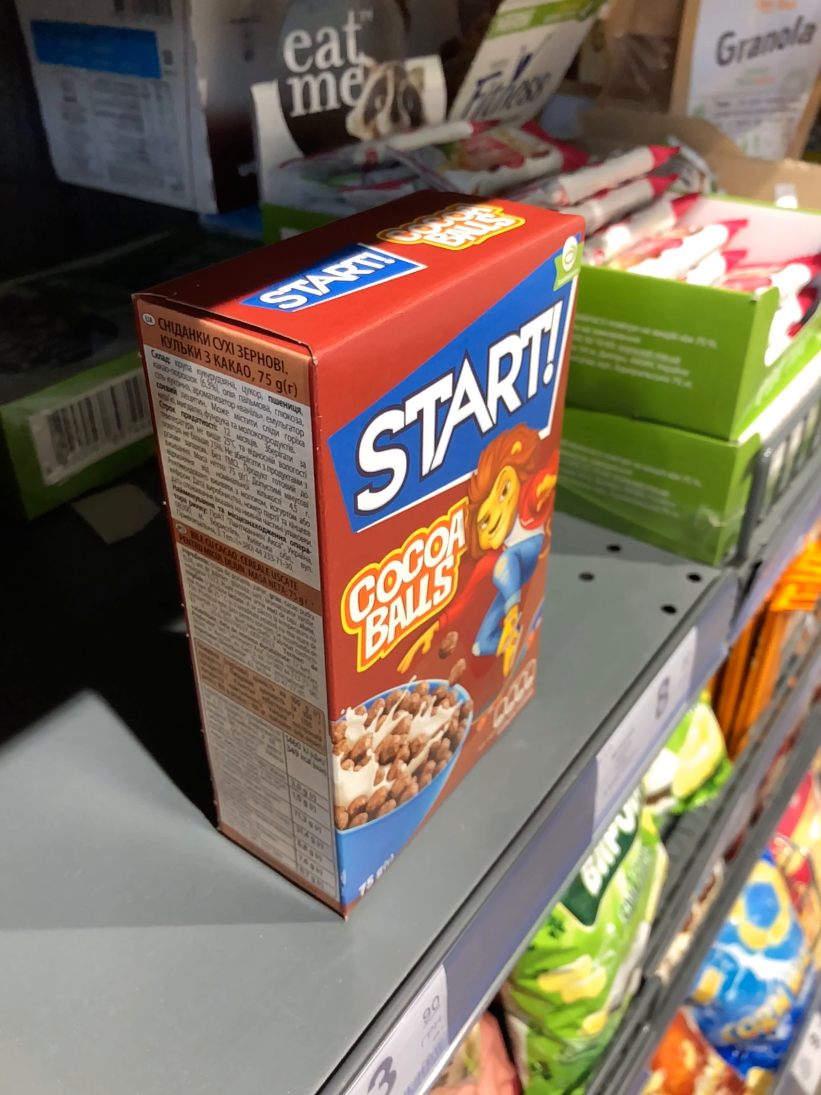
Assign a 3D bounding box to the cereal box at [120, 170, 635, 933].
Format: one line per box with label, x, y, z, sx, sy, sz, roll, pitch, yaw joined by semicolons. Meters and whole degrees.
cereal box;-0.003;0.000;0.254;0.060;0.169;0.111;24;41;28
